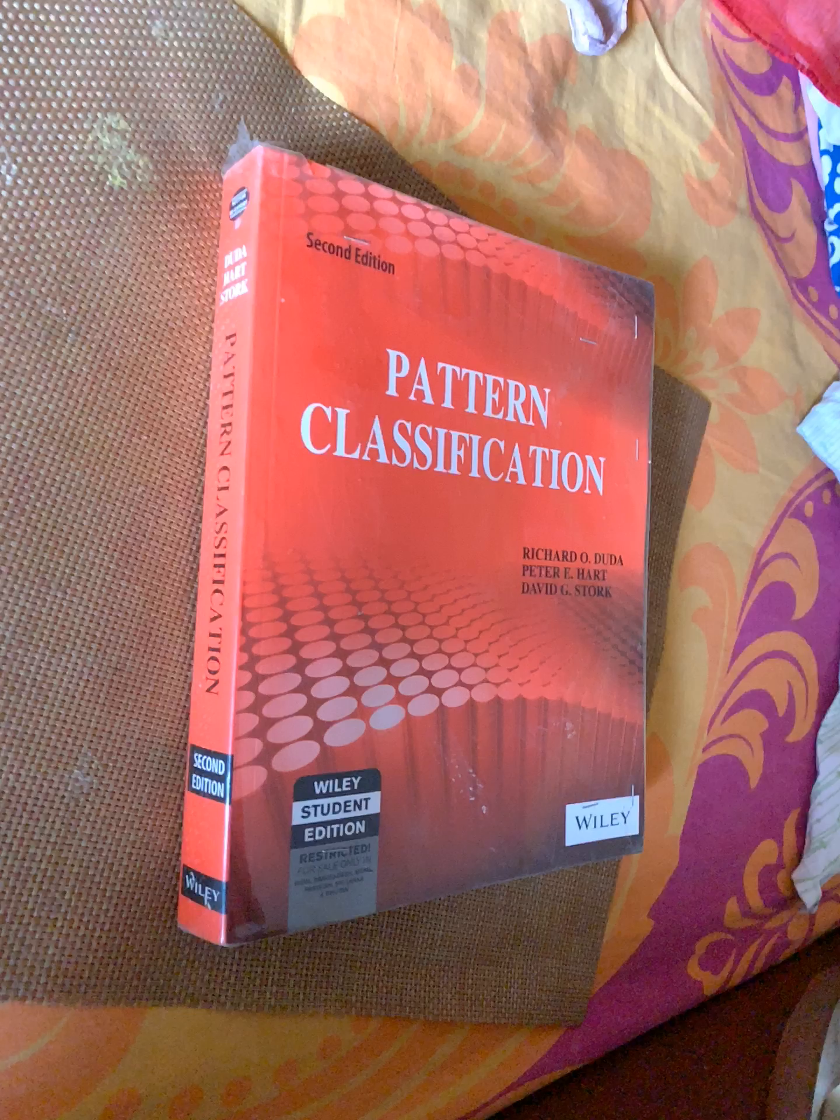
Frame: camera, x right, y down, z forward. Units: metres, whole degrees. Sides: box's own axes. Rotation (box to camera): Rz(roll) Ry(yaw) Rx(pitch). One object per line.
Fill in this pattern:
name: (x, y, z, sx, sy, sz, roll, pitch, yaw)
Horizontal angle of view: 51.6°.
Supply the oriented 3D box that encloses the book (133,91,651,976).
book: (0.005, -0.004, 0.297, 0.181, 0.040, 0.230, 5, 85, -39)
